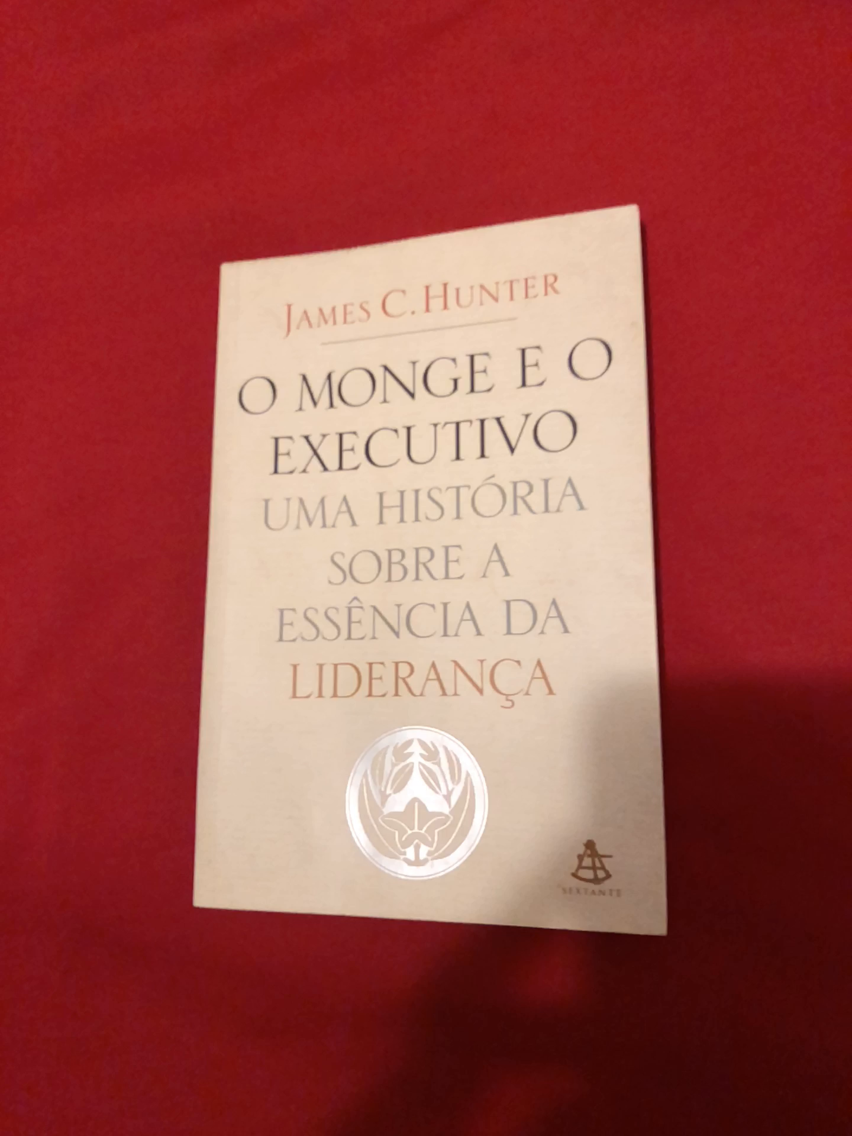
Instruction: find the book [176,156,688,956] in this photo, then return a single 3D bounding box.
[{"bbox_3d":[0.003,-0.007,0.287,0.140,0.030,0.220,-2,78,14],"label":"book"}]
